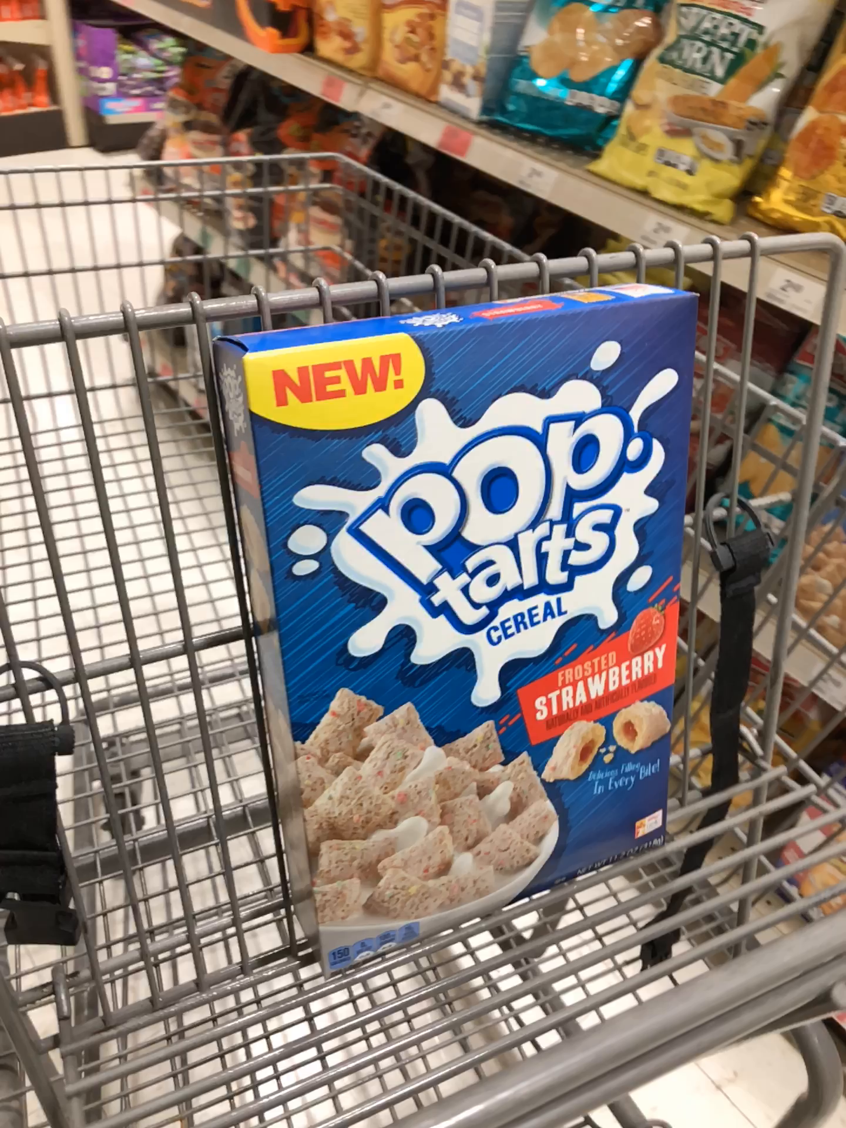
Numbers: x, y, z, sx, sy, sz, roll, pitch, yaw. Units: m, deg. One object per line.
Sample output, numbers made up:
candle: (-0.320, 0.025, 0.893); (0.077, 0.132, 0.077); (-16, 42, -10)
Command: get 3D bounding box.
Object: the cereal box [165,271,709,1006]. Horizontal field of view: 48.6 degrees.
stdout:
cereal box: (0.017, 0.031, 0.402); (0.200, 0.280, 0.050); (-12, 24, -20)
